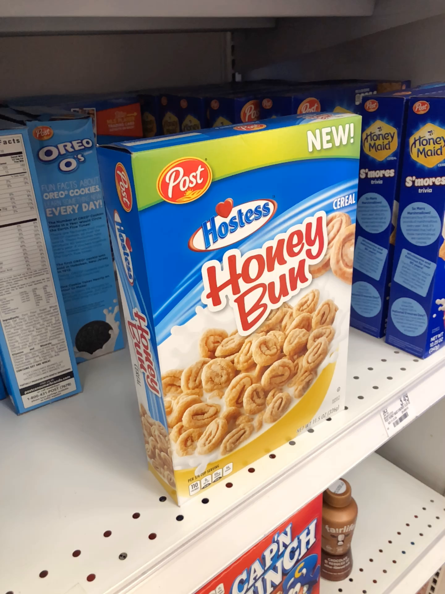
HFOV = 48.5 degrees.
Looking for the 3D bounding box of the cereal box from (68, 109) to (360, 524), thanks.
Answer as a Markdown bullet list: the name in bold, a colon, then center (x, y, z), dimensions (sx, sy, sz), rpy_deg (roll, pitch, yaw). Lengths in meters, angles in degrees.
- **cereal box**: center (0.012, 0.007, 0.414), dimensions (0.210, 0.289, 0.070), rpy_deg (-20, 28, -31)
